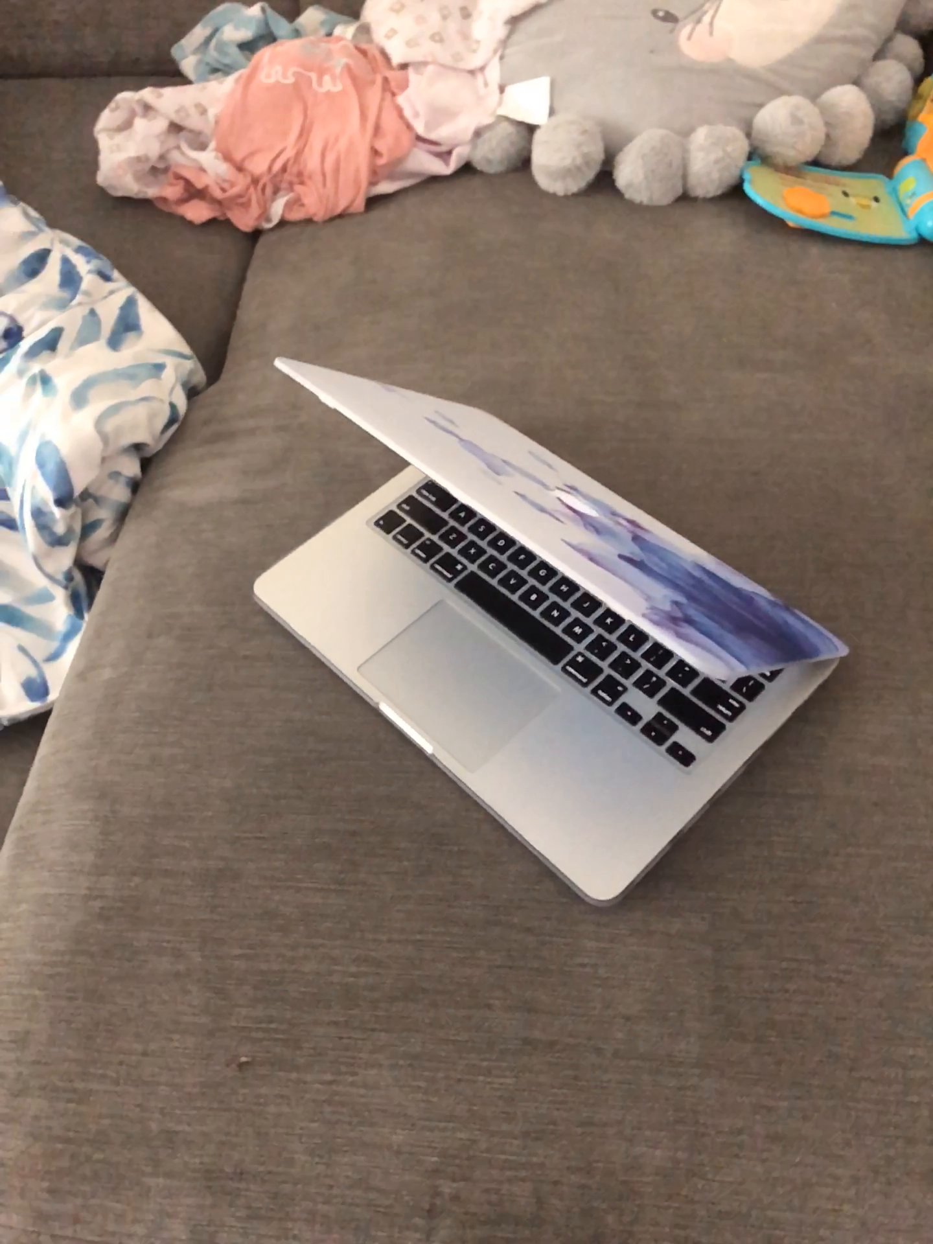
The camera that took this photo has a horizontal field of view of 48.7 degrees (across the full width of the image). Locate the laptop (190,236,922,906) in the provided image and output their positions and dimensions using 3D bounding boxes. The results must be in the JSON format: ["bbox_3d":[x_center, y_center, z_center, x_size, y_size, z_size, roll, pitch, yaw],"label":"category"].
[{"bbox_3d":[0.039,-0.047,0.585,0.217,0.137,0.309,-40,61,-22],"label":"laptop"}]
